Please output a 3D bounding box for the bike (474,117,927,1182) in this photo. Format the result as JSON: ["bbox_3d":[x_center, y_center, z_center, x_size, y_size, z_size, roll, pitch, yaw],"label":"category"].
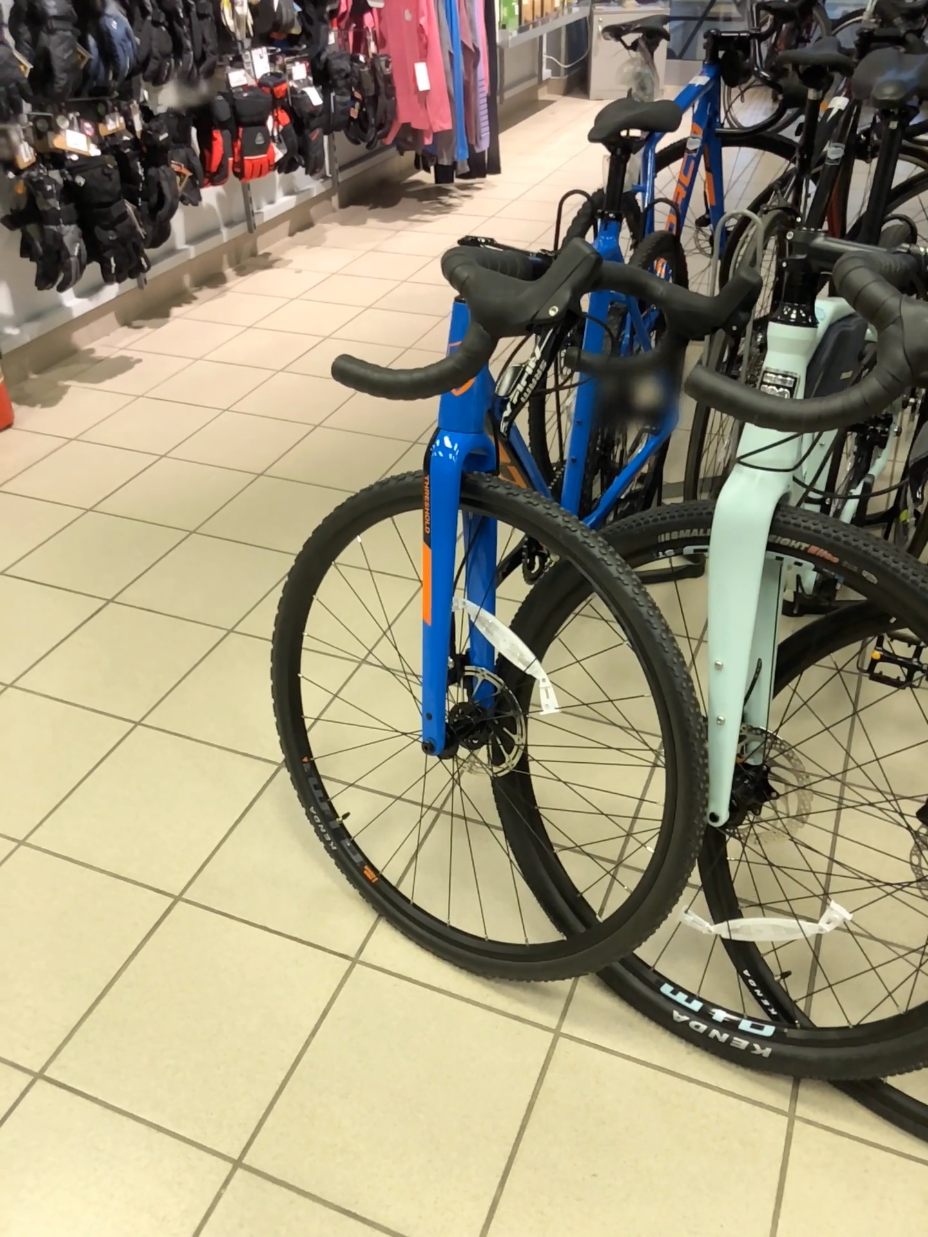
[{"bbox_3d":[0.379,-0.157,1.715,0.524,0.805,1.477,4,41,10],"label":"bike"}]

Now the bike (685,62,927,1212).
[{"bbox_3d":[0.706,-0.208,1.525,0.616,0.870,1.429,5,37,10],"label":"bike"}]
